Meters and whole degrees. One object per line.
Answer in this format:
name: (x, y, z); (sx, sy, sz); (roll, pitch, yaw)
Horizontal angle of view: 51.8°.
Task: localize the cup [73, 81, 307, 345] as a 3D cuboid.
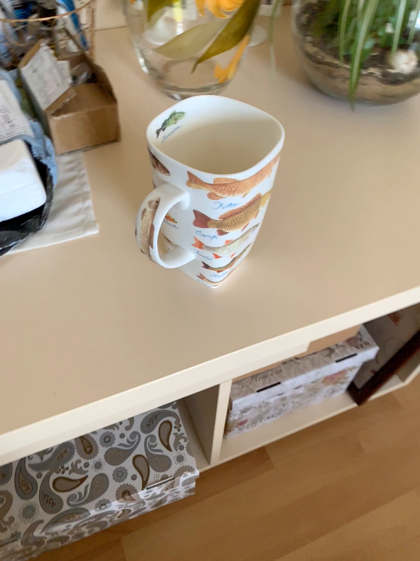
cup: (-0.010, -0.054, 0.335); (0.092, 0.122, 0.139); (29, 56, 19)
